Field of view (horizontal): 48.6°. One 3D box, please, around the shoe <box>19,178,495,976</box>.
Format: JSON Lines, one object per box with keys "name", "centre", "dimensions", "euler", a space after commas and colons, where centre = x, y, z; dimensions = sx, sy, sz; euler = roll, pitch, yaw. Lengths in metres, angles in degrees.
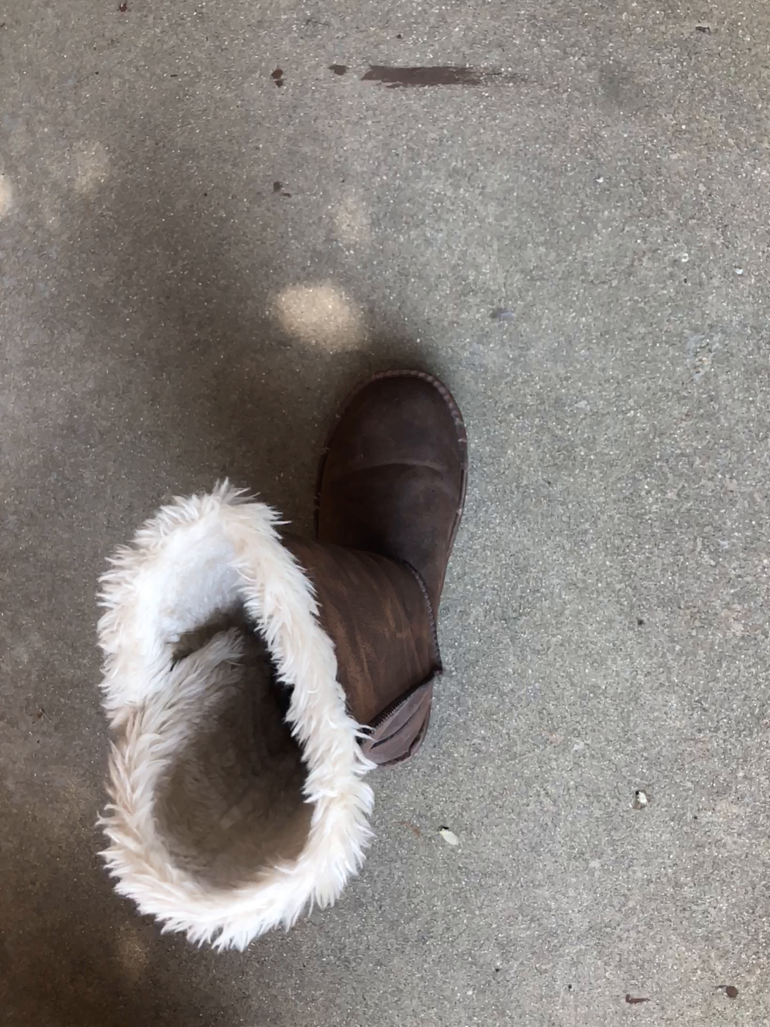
{"name": "shoe", "centre": [-0.029, 0.027, 0.468], "dimensions": [0.120, 0.320, 0.280], "euler": [5, 87, 14]}
